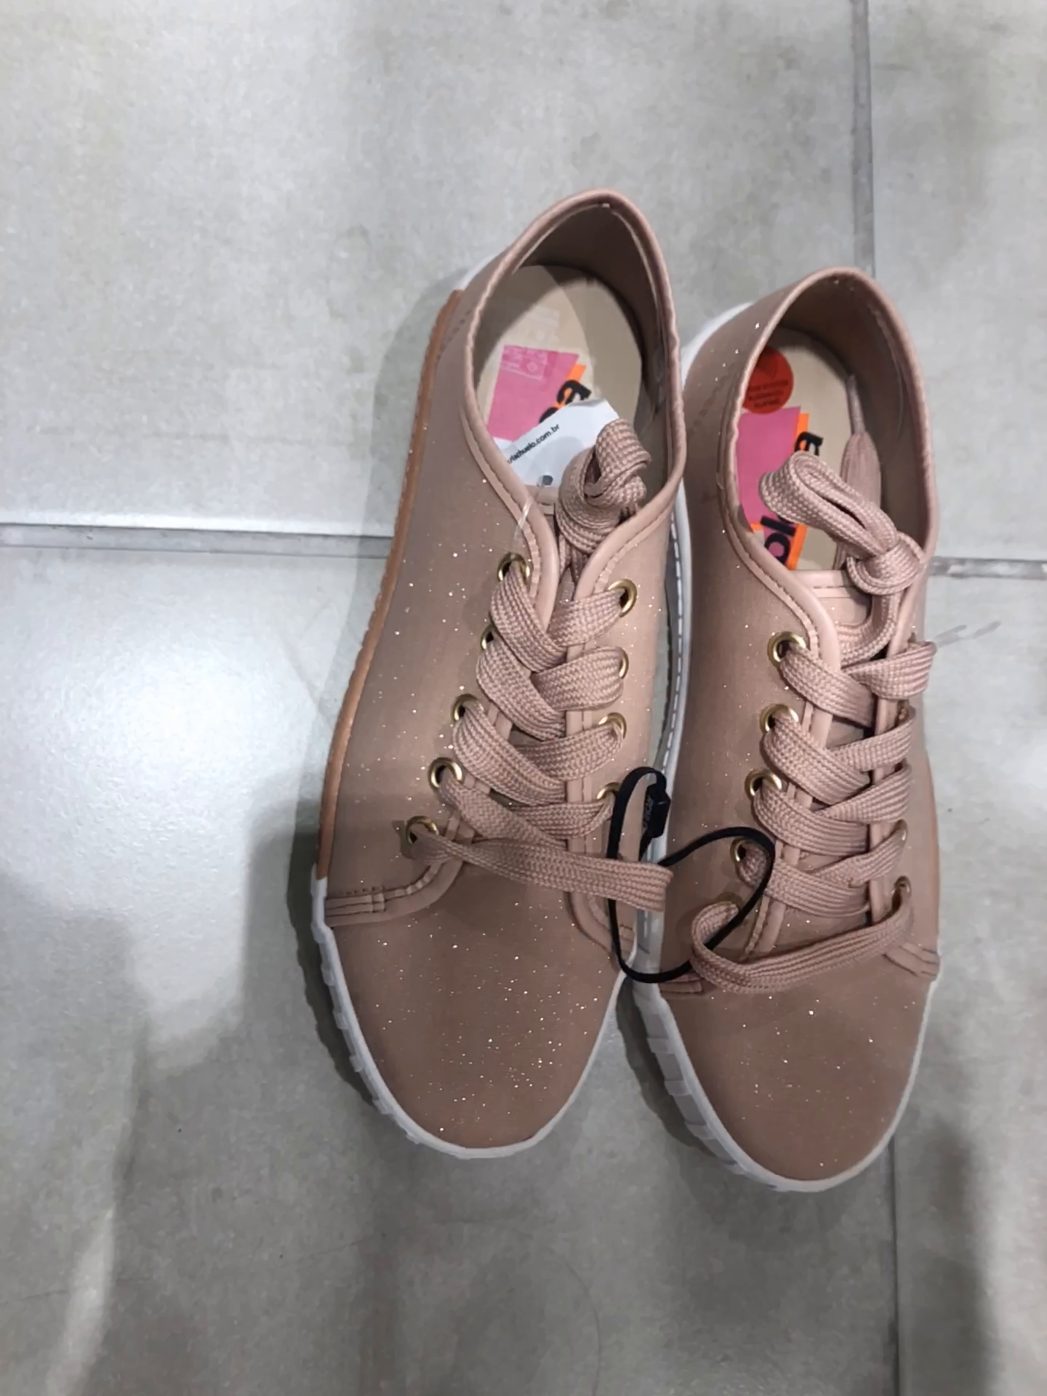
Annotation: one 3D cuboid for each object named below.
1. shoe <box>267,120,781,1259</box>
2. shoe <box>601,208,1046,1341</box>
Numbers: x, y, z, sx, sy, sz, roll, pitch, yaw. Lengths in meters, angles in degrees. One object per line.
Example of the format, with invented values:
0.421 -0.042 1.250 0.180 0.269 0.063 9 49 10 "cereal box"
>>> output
-0.004 0.000 0.303 0.090 0.100 0.240 6 85 -9 "shoe"
0.078 0.016 0.305 0.090 0.100 0.240 0 86 -10 "shoe"
